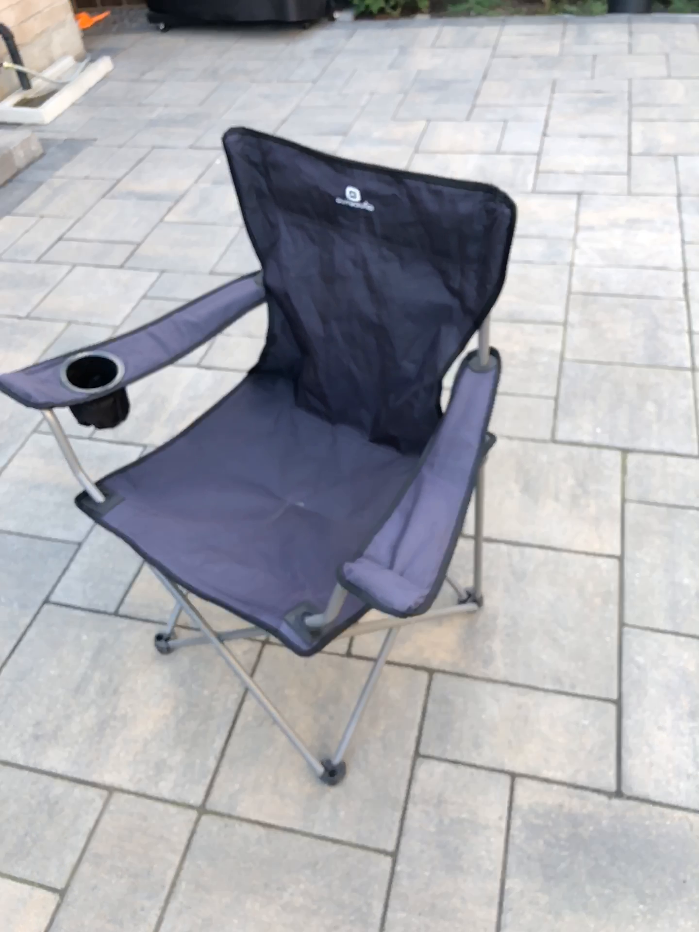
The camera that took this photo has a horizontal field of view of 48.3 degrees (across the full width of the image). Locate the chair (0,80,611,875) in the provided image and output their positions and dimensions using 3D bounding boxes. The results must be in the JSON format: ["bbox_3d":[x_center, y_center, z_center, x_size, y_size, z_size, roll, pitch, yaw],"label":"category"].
[{"bbox_3d":[-0.117,-0.005,1.155,0.691,0.817,0.571,24,52,29],"label":"chair"}]
